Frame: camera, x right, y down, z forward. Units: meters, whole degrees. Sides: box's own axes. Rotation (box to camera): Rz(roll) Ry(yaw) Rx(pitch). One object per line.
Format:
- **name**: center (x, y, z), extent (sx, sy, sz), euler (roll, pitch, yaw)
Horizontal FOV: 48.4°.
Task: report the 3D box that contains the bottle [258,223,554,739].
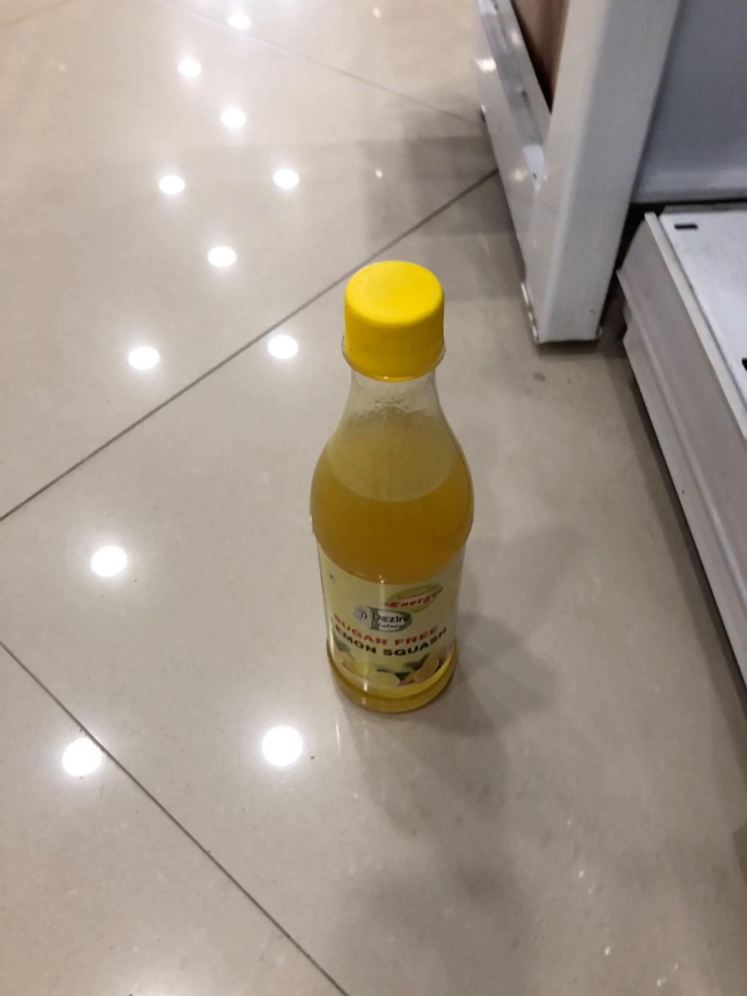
- **bottle**: center (0.014, 0.013, 0.334), extent (0.080, 0.229, 0.070), euler (5, 51, 5)
